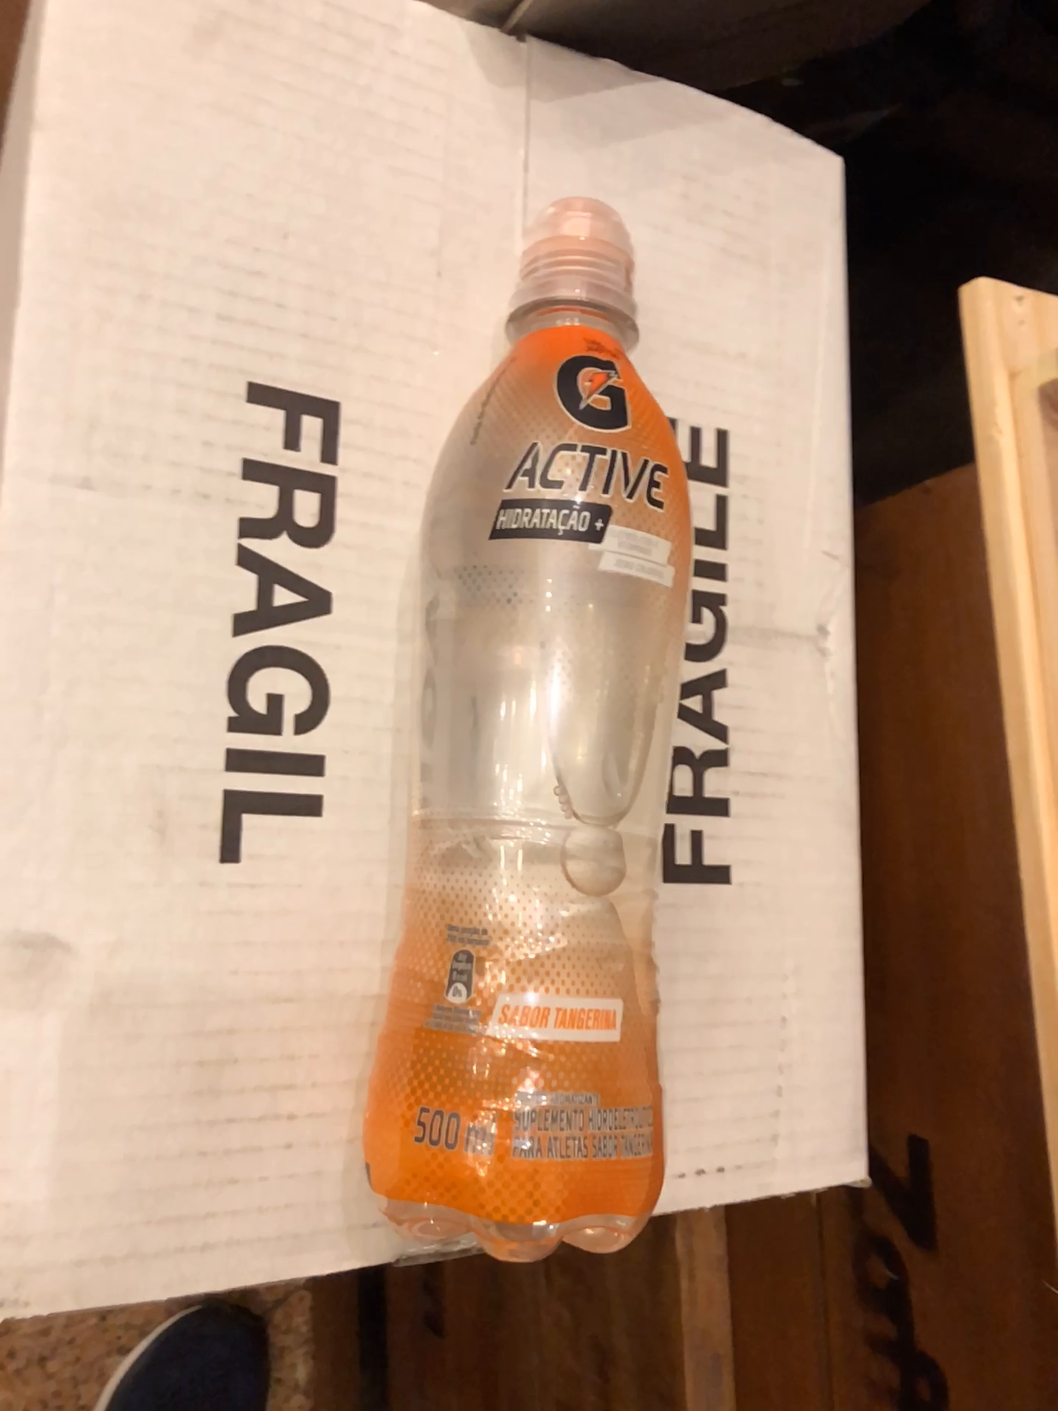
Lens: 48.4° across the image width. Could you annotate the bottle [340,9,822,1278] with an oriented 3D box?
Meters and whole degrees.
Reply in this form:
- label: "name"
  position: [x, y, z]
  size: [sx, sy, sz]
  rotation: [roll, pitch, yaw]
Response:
- label: "bottle"
  position: [0.015, -0.015, 0.267]
  size: [0.070, 0.060, 0.250]
  rotation: [10, 78, -27]
